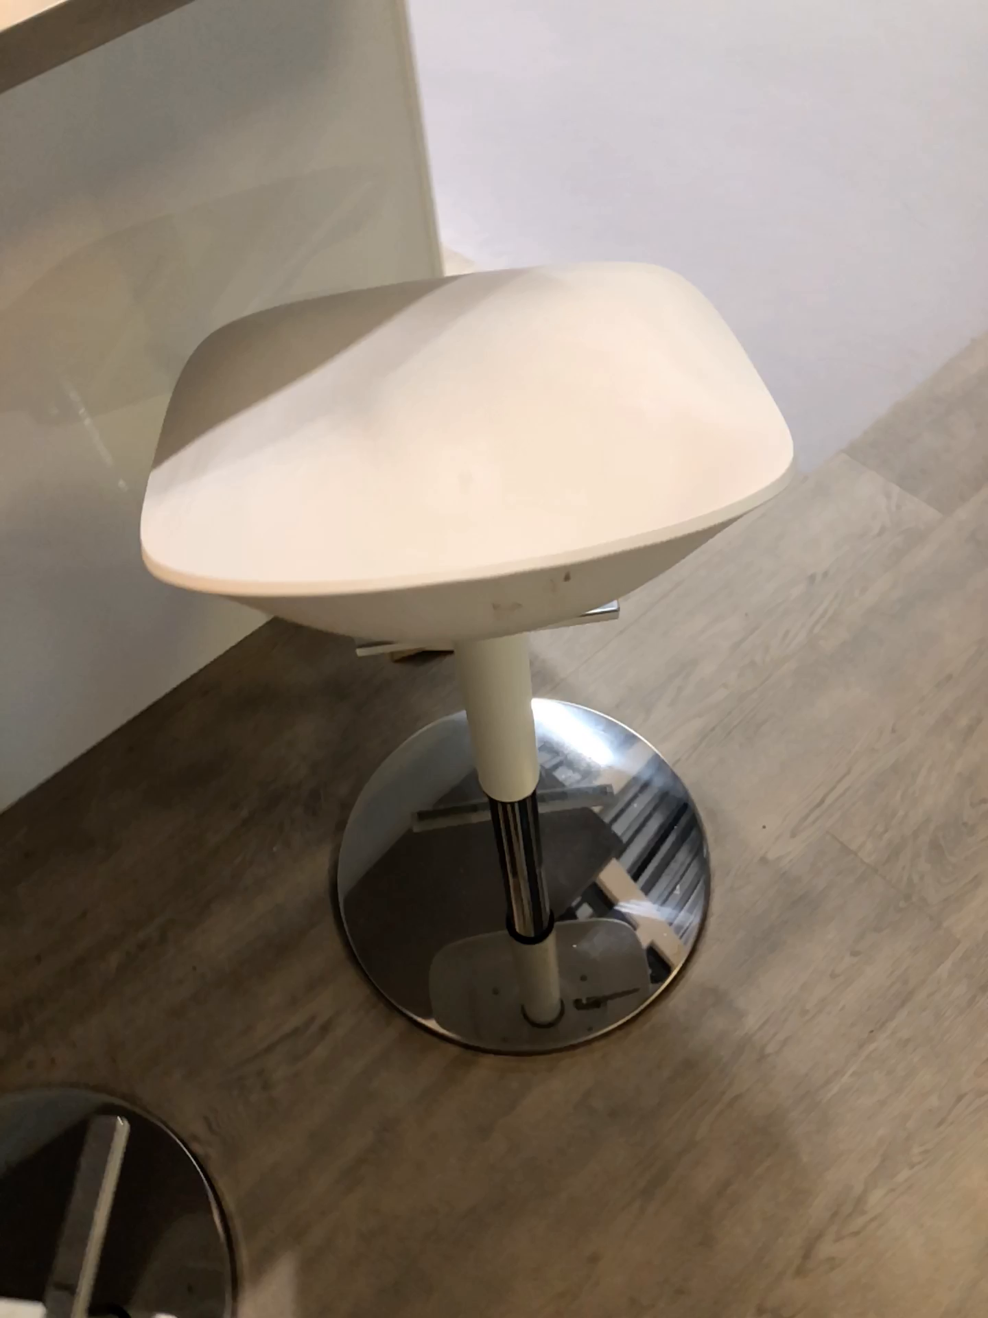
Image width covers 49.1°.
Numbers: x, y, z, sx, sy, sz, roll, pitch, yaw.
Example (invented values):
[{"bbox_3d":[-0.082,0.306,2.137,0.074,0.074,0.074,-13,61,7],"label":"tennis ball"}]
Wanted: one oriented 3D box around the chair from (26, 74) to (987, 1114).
[{"bbox_3d":[0.005,0.026,0.892,0.440,0.716,0.442,-11,56,-2],"label":"chair"}]
